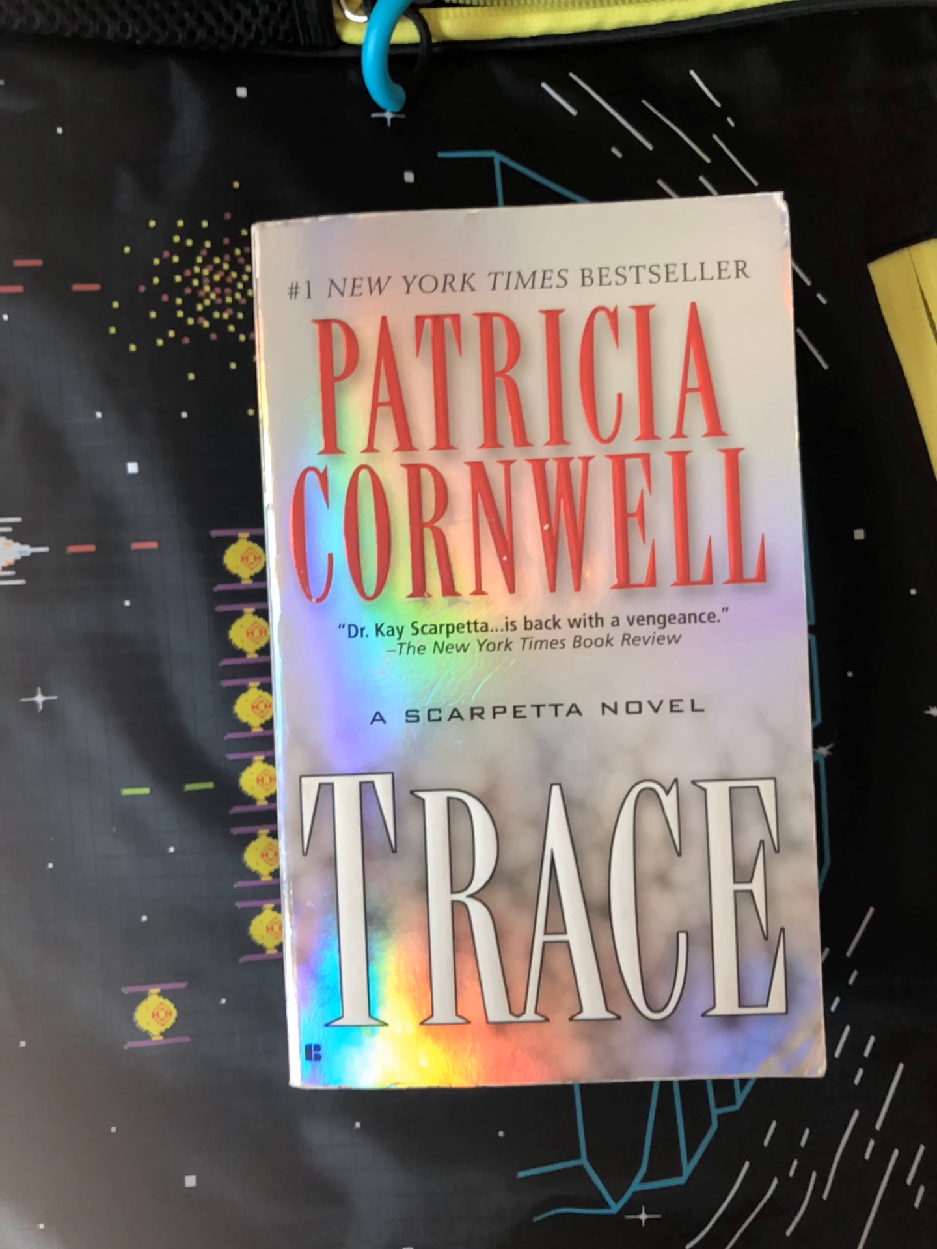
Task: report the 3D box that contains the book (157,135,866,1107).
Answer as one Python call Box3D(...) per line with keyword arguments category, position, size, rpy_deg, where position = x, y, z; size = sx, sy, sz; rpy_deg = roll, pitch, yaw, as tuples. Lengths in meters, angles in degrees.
Box3D(category="book", position=(0.007, 0.002, 0.209), size=(0.120, 0.040, 0.170), rpy_deg=(-3, 89, 5))
